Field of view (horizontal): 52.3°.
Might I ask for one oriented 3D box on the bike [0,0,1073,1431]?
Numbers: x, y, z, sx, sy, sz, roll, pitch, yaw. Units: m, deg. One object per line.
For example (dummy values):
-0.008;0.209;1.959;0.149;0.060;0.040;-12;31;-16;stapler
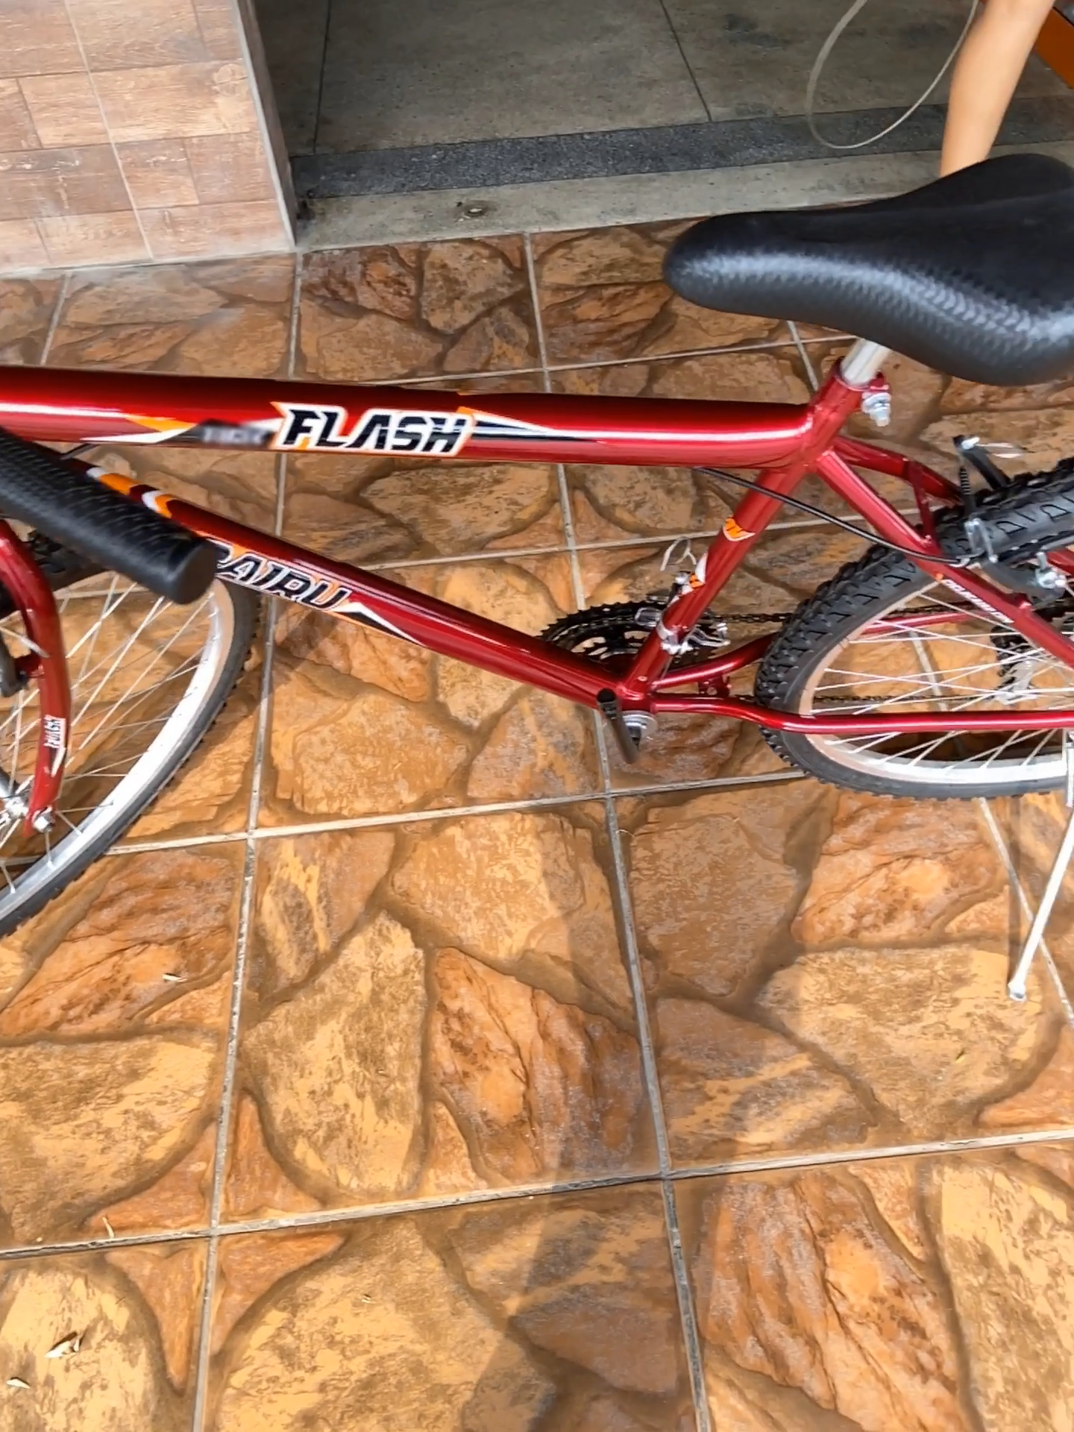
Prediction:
0.033;0.033;0.808;1.556;0.986;0.601;-12;51;-2;bike
